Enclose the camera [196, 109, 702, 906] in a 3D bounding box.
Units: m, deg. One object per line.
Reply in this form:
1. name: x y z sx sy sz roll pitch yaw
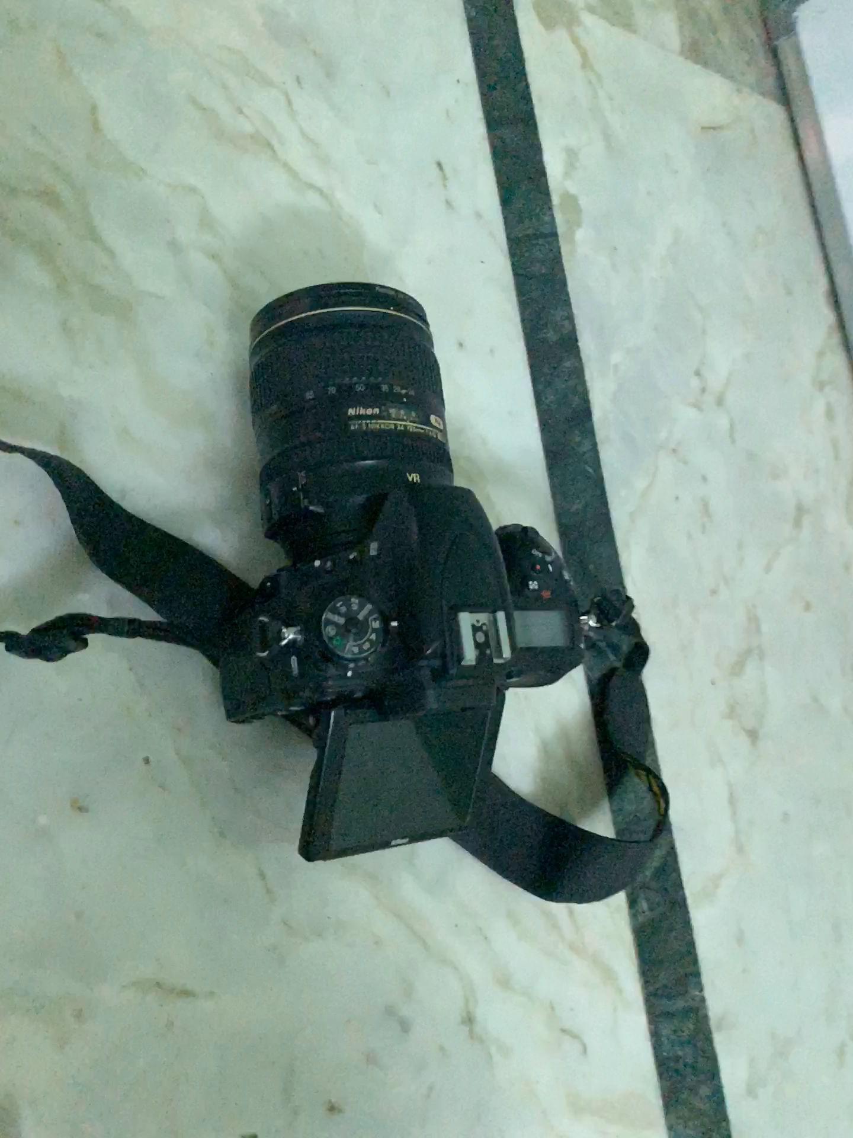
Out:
1. camera: 0.003 -0.018 0.354 0.147 0.100 0.258 2 76 -35
